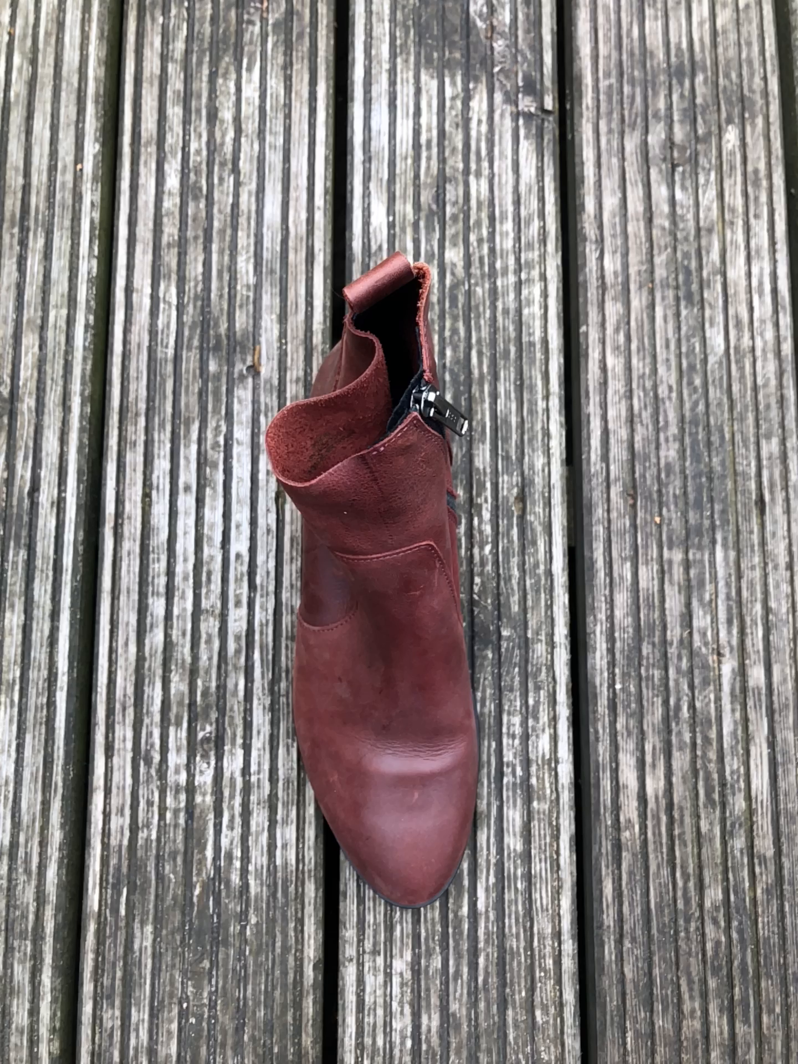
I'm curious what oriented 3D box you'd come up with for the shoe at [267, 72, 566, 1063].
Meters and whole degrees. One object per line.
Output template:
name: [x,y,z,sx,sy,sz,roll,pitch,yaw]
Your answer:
shoe: [0.007,0.024,0.405,0.090,0.240,0.340,1,83,-1]
